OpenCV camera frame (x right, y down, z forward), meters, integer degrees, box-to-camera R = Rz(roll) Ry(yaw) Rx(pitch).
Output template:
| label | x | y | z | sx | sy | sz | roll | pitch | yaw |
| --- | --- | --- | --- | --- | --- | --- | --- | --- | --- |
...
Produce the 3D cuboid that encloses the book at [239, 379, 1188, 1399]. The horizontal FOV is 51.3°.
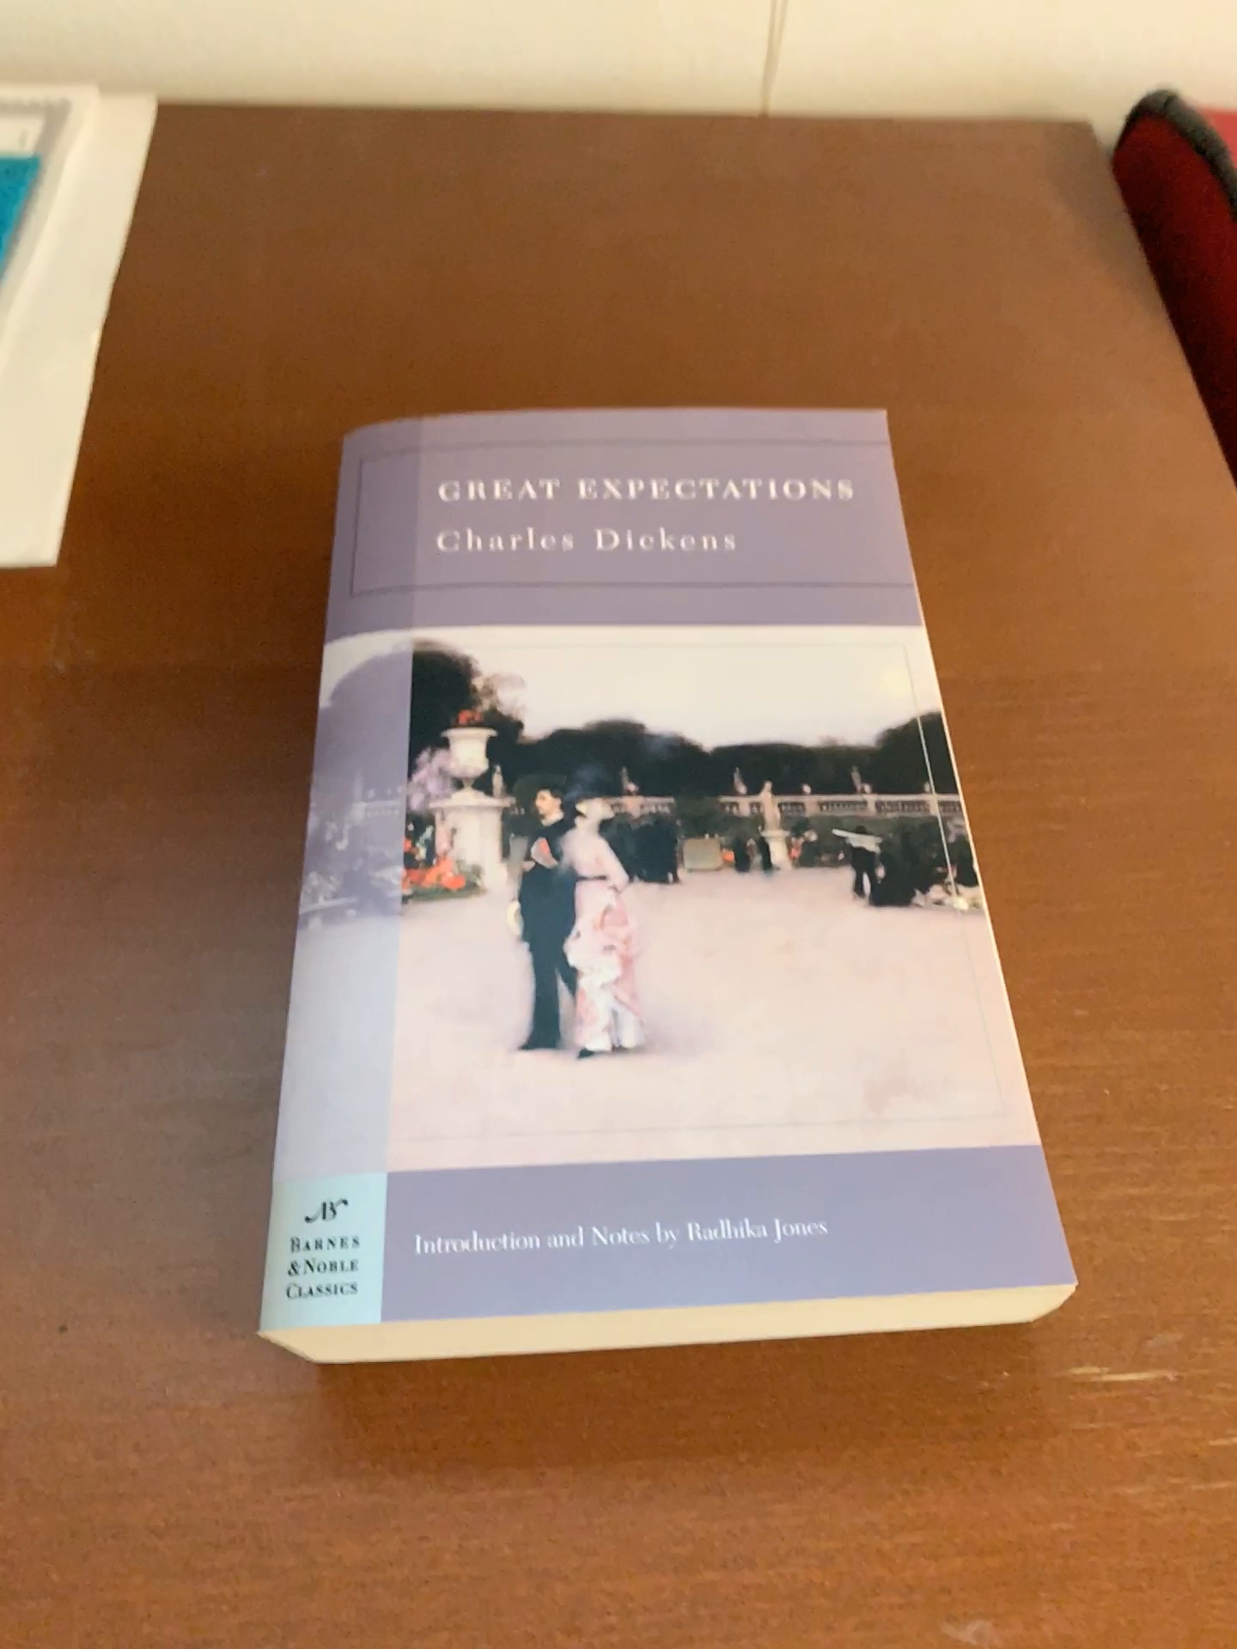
| label | x | y | z | sx | sy | sz | roll | pitch | yaw |
| --- | --- | --- | --- | --- | --- | --- | --- | --- | --- |
| book | 0.009 | -0.002 | 0.255 | 0.140 | 0.040 | 0.201 | -2 | 61 | -4 |
